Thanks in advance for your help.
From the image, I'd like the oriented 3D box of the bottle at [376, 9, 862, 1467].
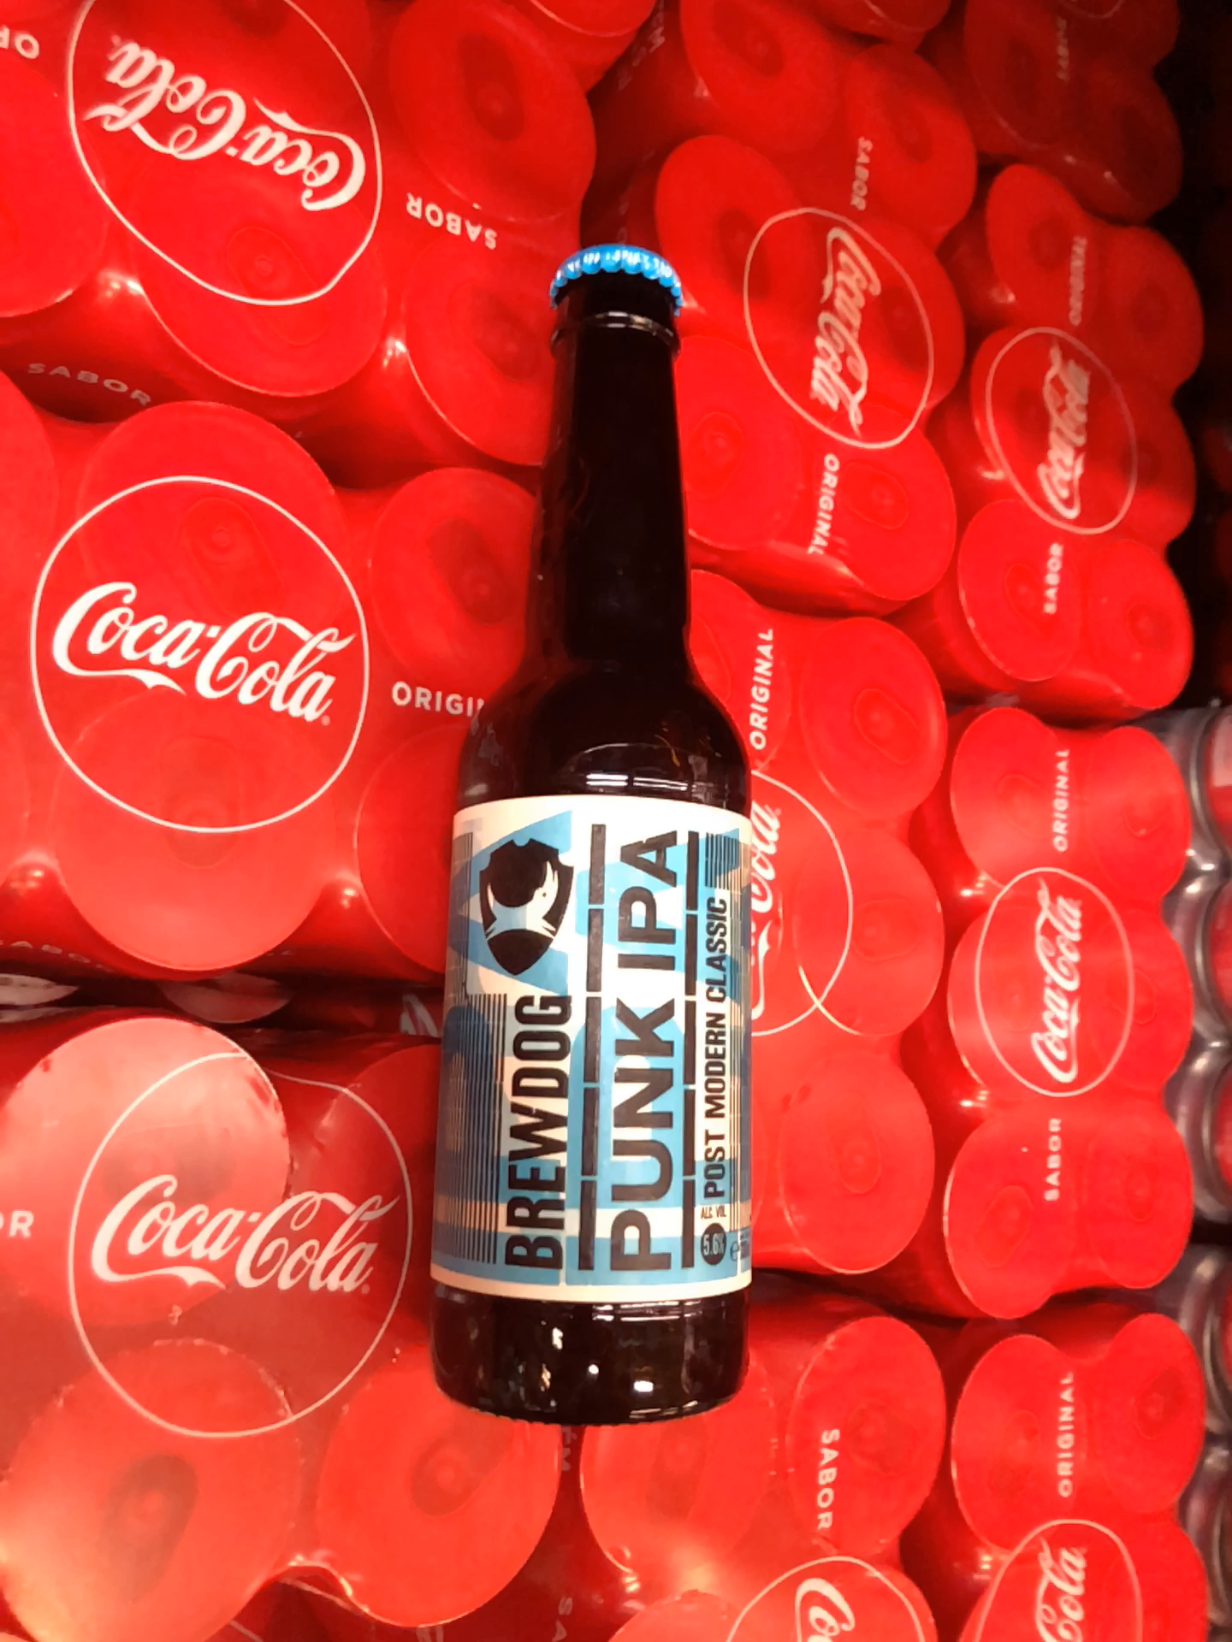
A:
[{"bbox_3d":[0.002,-0.016,0.253,0.060,0.060,0.230,7,80,-33],"label":"bottle"}]
